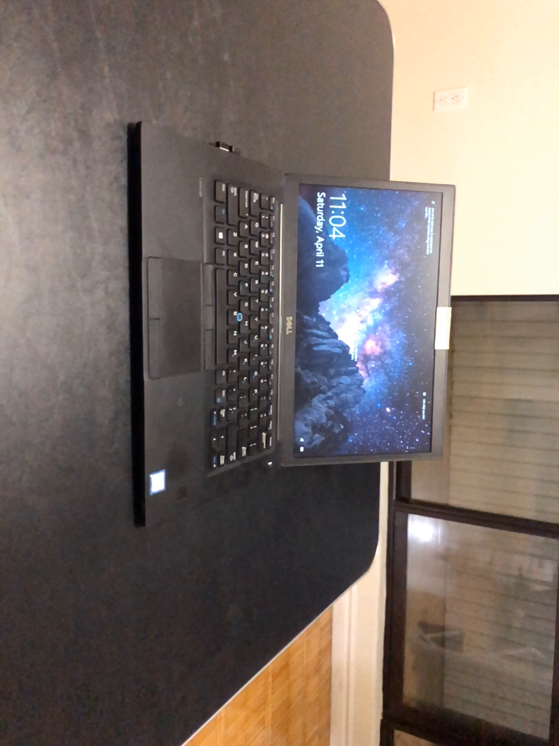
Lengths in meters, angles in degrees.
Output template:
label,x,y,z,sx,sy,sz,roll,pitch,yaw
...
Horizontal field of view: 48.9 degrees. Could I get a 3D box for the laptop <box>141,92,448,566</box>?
label,x,y,z,sx,sy,sz,roll,pitch,yaw
laptop,0.044,-0.043,0.611,0.369,0.140,0.319,-10,103,-60
